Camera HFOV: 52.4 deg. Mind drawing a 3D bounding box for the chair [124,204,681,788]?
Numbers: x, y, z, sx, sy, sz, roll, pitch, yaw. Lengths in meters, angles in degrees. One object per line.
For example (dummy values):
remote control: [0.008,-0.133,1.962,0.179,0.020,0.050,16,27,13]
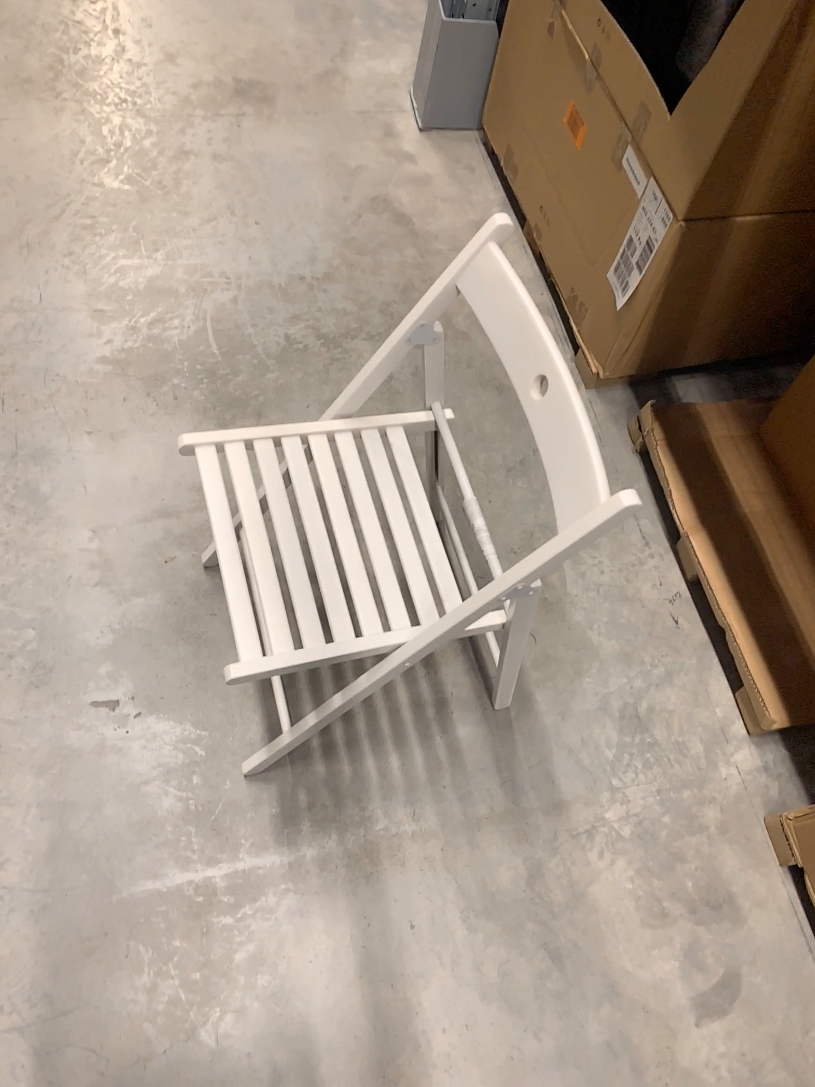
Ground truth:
chair: [-0.064,-0.009,1.143,0.470,0.709,0.430,-10,64,-14]
